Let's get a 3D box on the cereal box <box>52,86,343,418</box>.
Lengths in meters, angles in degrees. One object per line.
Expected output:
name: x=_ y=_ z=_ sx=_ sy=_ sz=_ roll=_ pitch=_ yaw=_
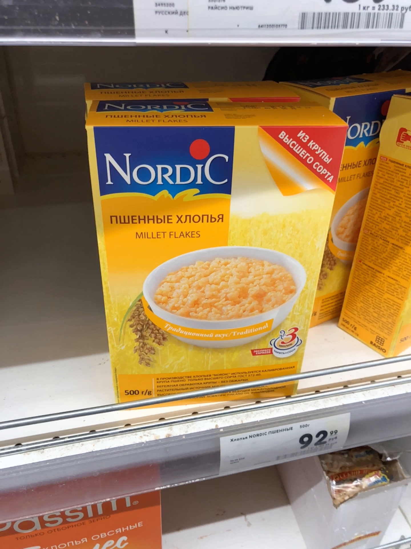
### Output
cereal box: x=-0.007 y=-0.006 z=0.301 sx=0.140 sy=0.209 sz=0.060 roll=-2 pitch=33 yaw=-6
